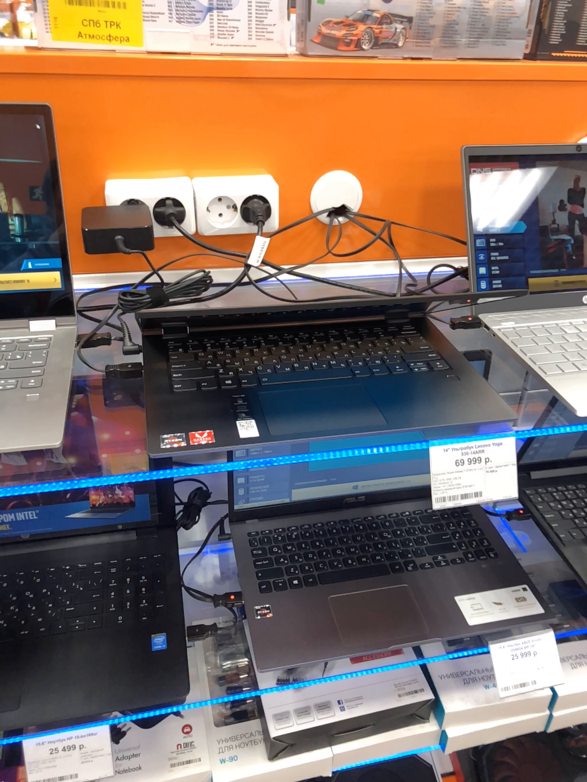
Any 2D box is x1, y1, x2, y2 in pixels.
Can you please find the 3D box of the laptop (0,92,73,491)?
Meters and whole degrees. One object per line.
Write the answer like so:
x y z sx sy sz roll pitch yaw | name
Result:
-0.381 -0.108 0.545 0.311 0.219 0.268 -4 32 -13 | laptop

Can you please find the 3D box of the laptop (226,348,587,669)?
0.112 0.125 0.793 0.353 0.236 0.257 -5 32 -11 | laptop

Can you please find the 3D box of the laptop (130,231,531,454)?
0.015 -0.063 0.617 0.324 0.102 0.215 -5 33 -12 | laptop

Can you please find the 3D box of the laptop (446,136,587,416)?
0.375 -0.150 0.709 0.282 0.162 0.319 -6 34 -9 | laptop

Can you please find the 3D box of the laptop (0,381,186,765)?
-0.323 0.165 0.683 0.373 0.223 0.266 -5 32 -13 | laptop

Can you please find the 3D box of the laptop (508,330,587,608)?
0.523 0.087 0.863 0.344 0.229 0.254 -4 31 -9 | laptop
